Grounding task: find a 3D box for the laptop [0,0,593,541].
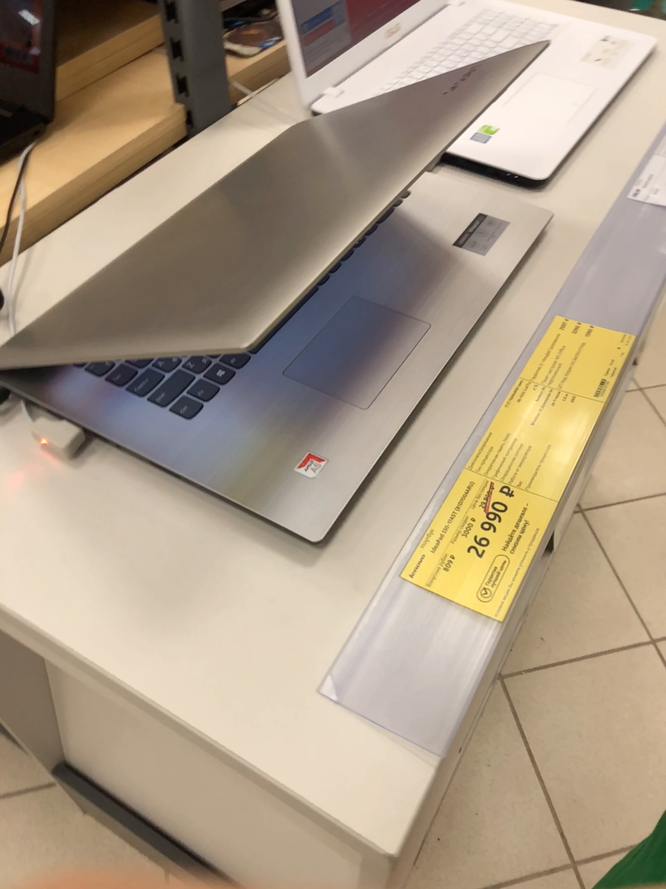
[{"bbox_3d":[-0.024,-0.168,0.533,0.276,0.129,0.399,24,53,19],"label":"laptop"}]
